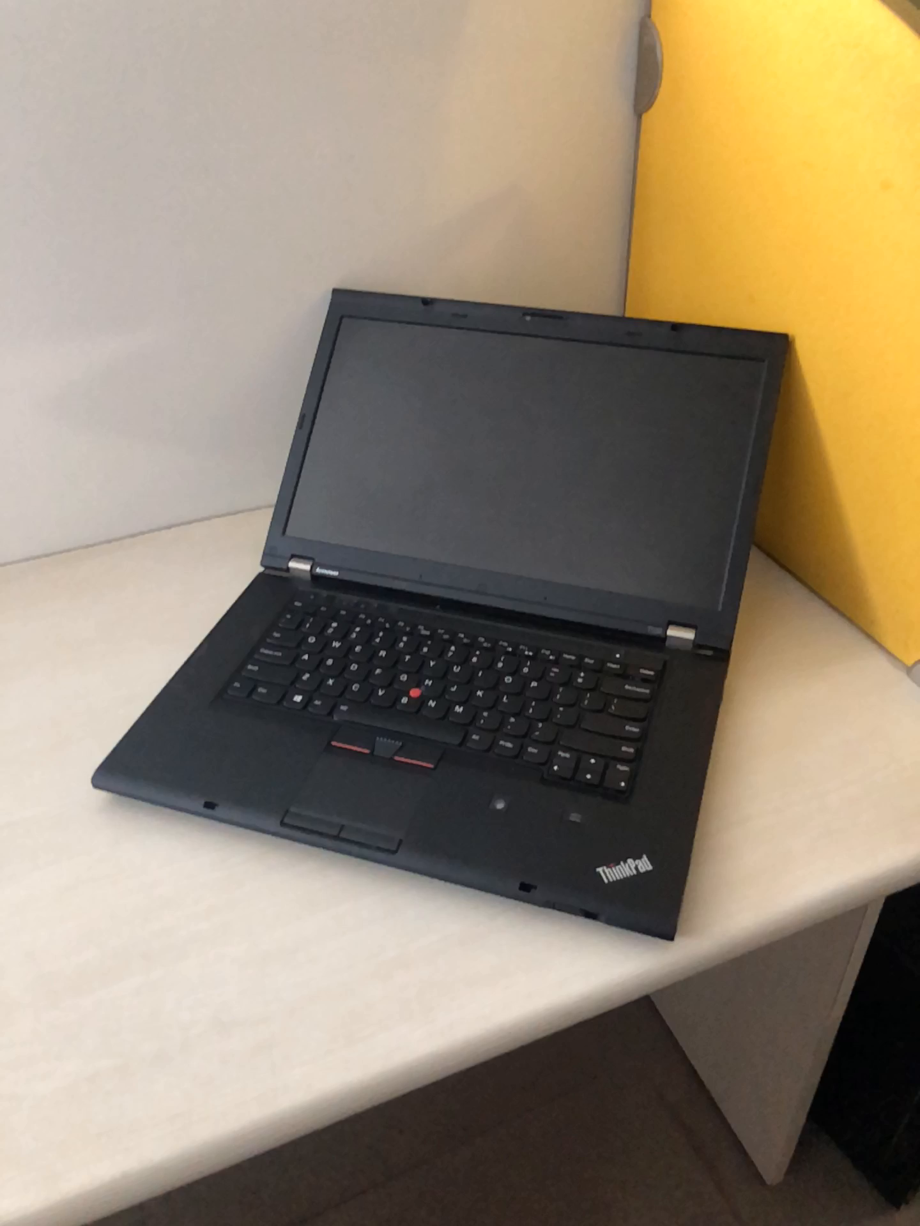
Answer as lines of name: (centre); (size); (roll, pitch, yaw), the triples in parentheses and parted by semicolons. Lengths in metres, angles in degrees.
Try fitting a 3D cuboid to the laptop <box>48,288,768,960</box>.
laptop: (0.006, -0.043, 0.688); (0.353, 0.143, 0.420); (11, 42, 13)
